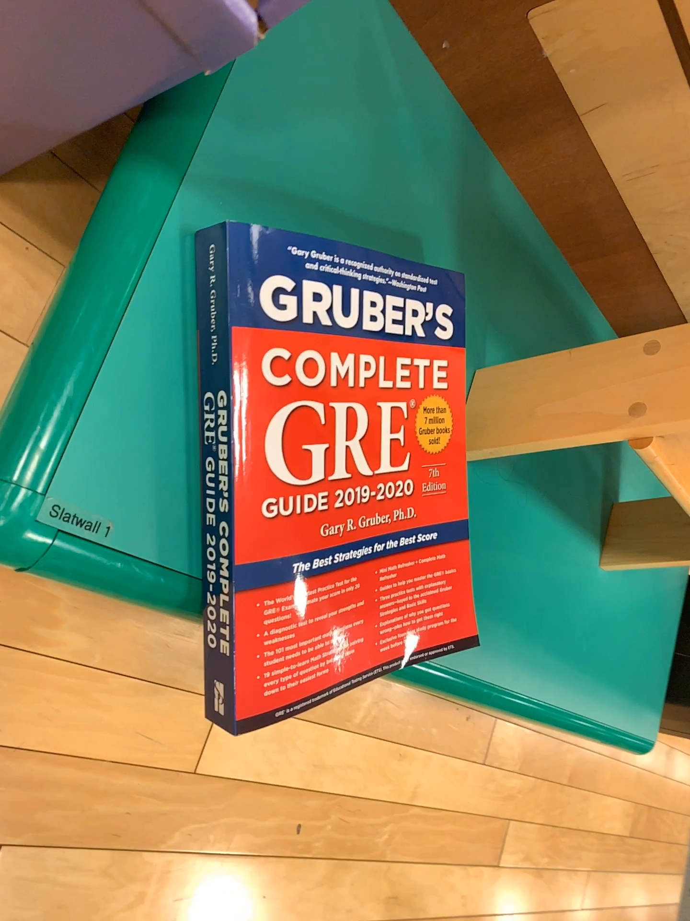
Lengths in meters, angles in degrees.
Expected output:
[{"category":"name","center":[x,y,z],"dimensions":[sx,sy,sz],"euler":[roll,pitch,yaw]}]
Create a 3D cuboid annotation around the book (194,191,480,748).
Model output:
[{"category":"book","center":[0.008,0.002,0.461],"dimensions":[0.221,0.040,0.290],"euler":[-5,97,-47]}]
